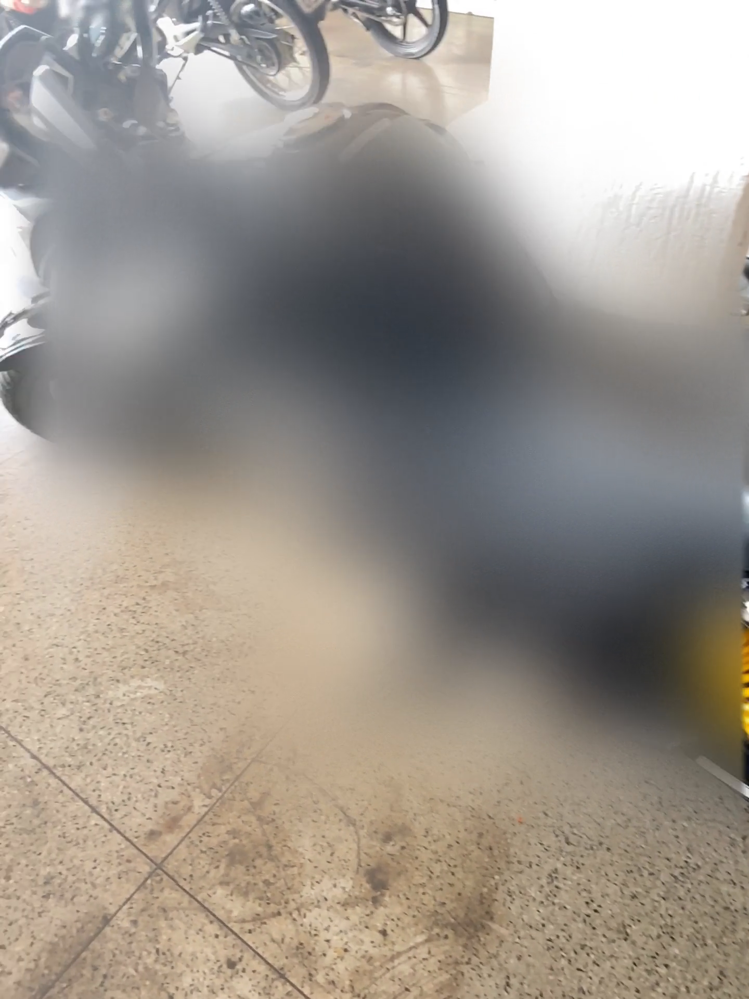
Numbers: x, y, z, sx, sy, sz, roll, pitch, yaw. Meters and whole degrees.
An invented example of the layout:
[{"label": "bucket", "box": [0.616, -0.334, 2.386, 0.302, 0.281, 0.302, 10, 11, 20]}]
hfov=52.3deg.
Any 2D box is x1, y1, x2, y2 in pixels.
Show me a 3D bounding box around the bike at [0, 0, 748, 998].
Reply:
[{"label": "bike", "box": [0.046, 0.033, 0.977, 2.004, 1.331, 0.819, 20, 47, 23]}]
